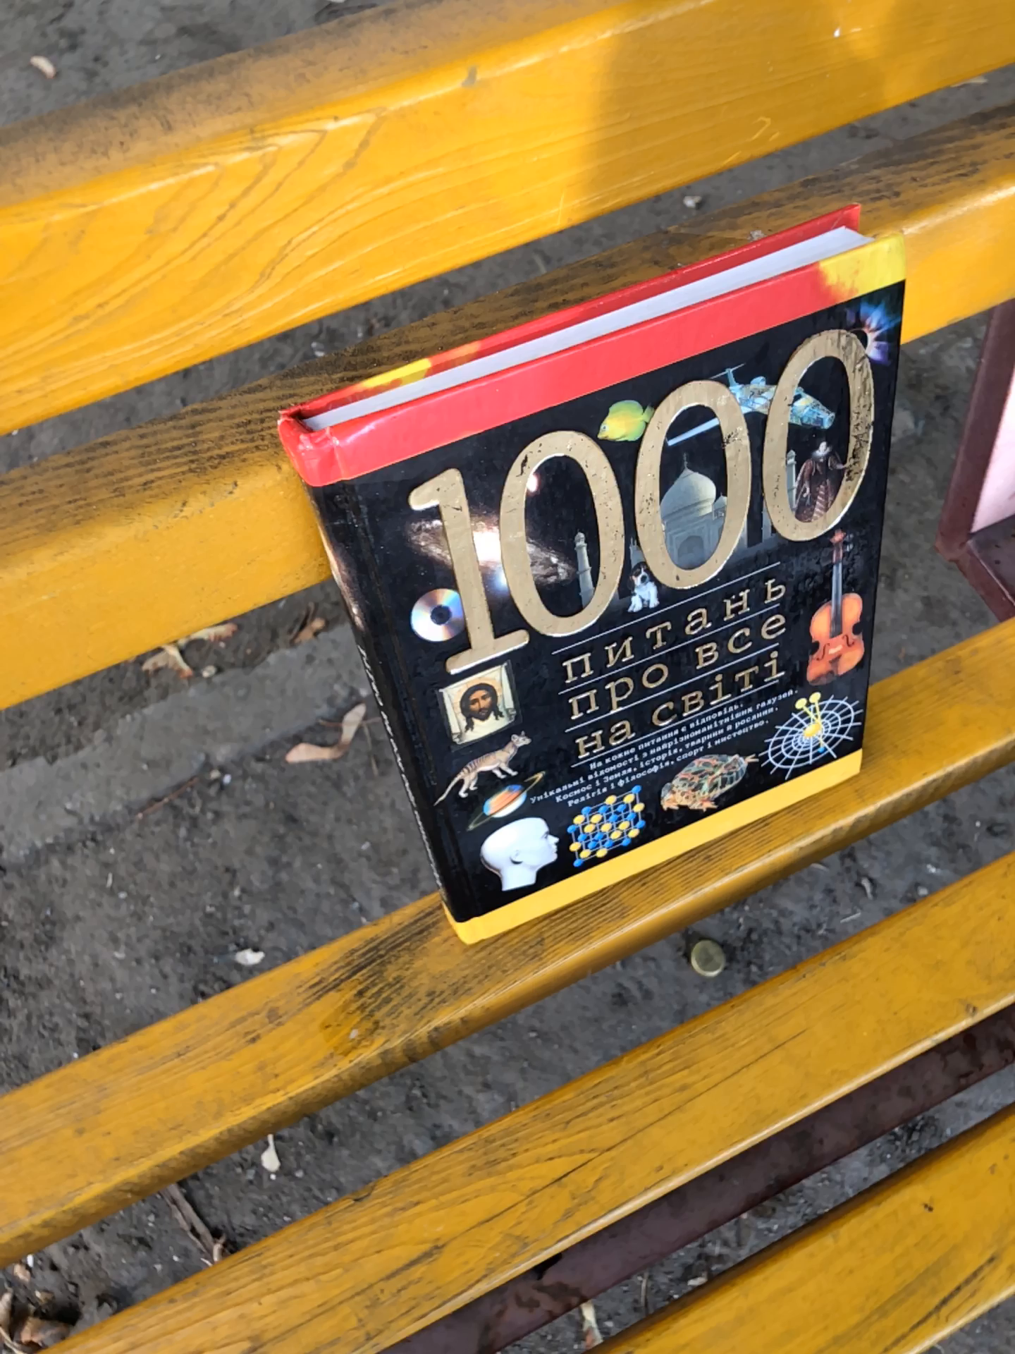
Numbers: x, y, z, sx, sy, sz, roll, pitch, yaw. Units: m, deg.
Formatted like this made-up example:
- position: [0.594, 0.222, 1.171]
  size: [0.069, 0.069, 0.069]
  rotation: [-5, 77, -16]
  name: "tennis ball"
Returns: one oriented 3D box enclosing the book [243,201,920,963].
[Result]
- position: [0.037, -0.015, 0.347]
  size: [0.172, 0.201, 0.032]
  rotation: [-22, 43, -10]
  name: "book"
